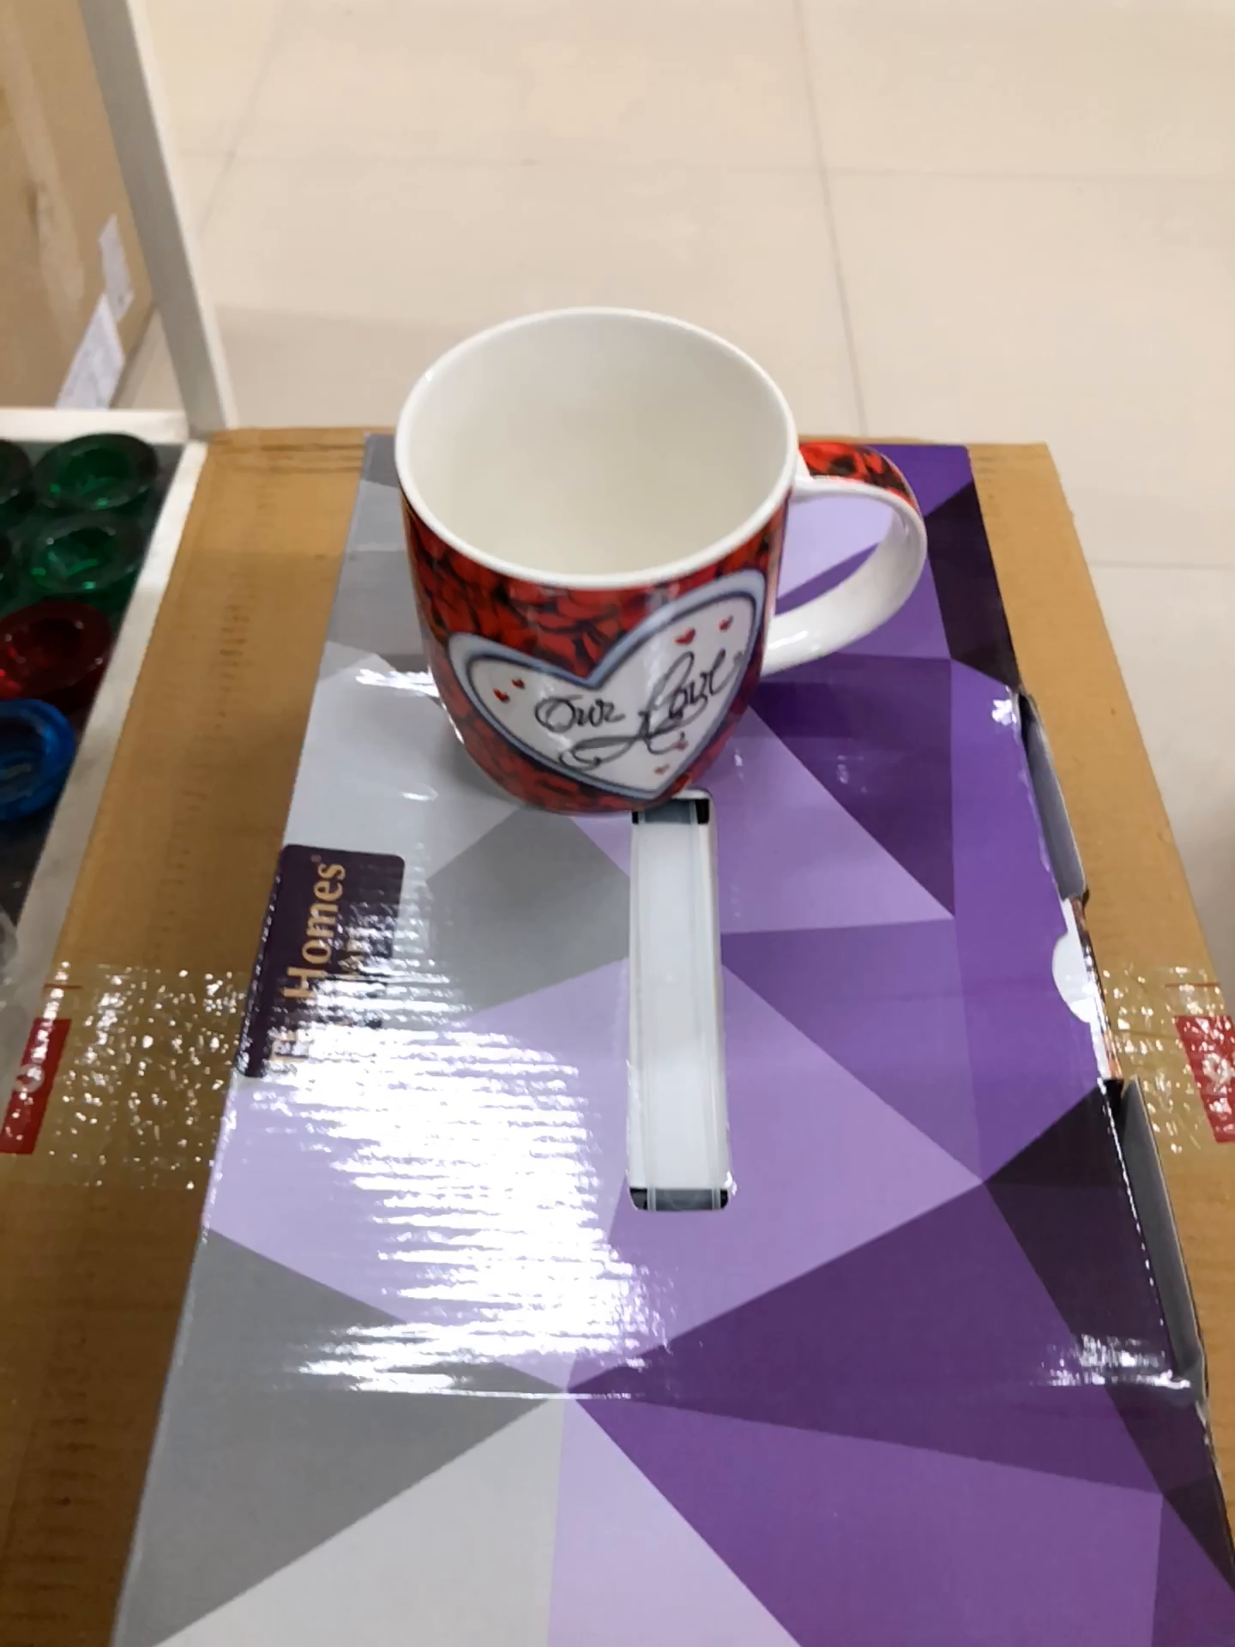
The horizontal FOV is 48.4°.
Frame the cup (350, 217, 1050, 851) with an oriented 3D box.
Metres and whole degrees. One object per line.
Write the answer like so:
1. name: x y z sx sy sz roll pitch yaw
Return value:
1. cup: 0.012 -0.069 0.329 0.130 0.099 0.090 -9 52 -8
